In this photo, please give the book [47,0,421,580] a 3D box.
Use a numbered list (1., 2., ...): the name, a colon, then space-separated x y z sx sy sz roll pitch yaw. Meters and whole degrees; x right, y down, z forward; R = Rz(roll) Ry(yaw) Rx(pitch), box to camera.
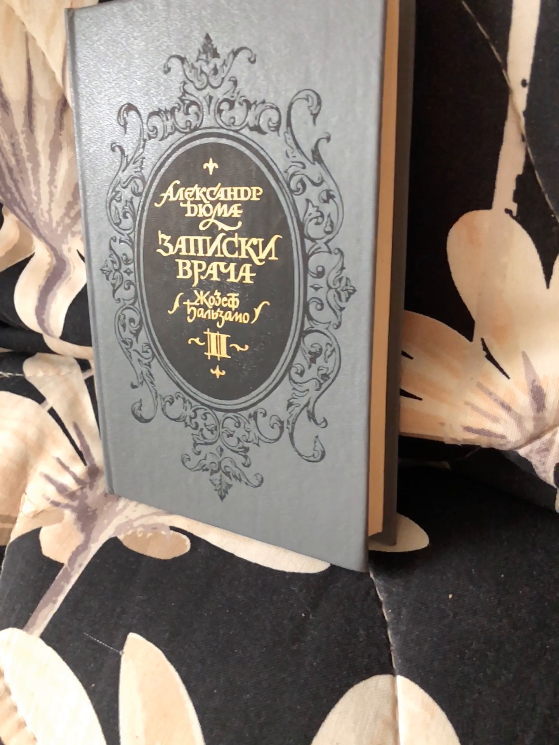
1. book: -0.023 -0.037 0.247 0.140 0.030 0.206 9 108 30
